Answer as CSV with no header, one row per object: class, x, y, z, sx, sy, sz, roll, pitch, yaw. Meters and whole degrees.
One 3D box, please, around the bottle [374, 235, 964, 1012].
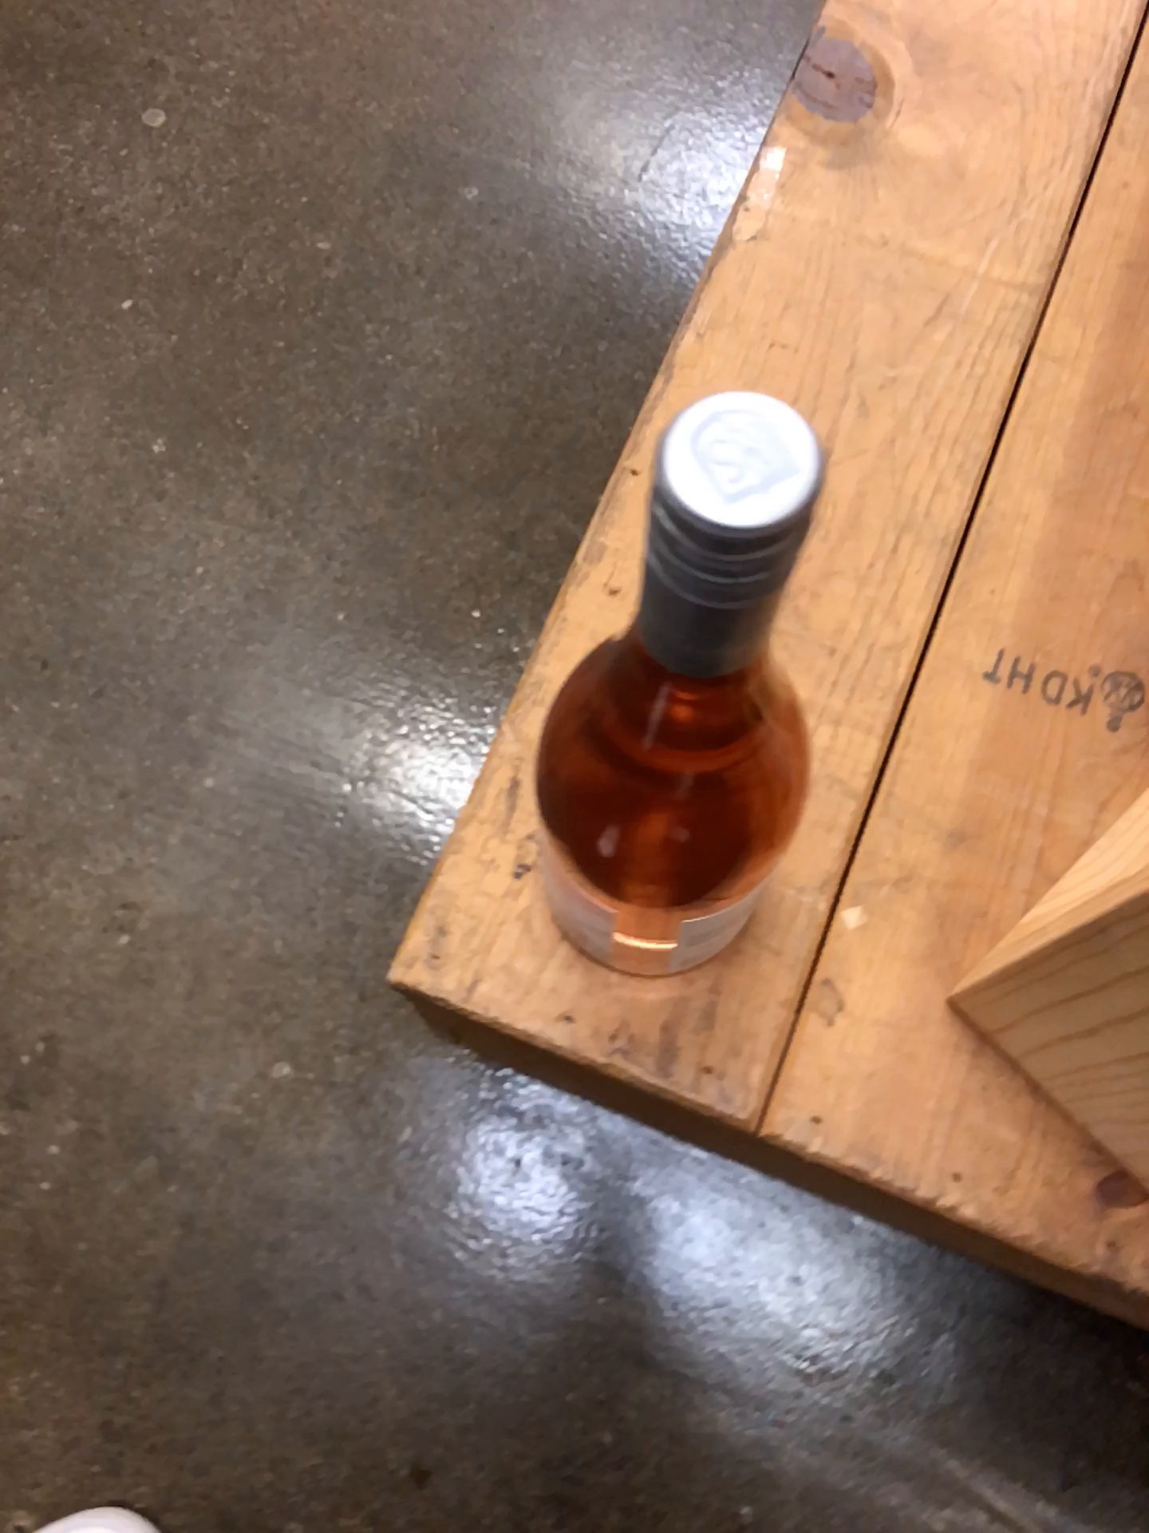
bottle,0.022,0.000,0.354,0.081,0.310,0.080,-1,72,2
